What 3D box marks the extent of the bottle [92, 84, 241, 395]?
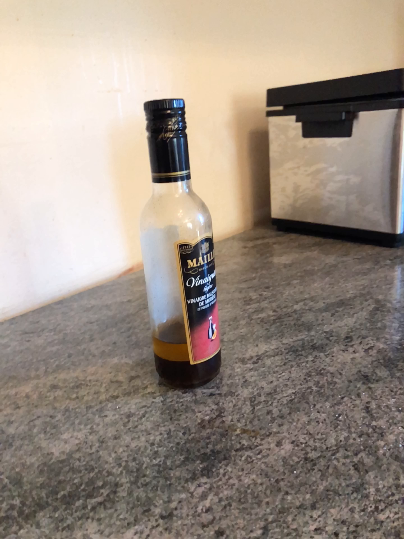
[{"bbox_3d":[-0.023,-0.025,0.366,0.070,0.229,0.070,-5,17,1],"label":"bottle"}]
